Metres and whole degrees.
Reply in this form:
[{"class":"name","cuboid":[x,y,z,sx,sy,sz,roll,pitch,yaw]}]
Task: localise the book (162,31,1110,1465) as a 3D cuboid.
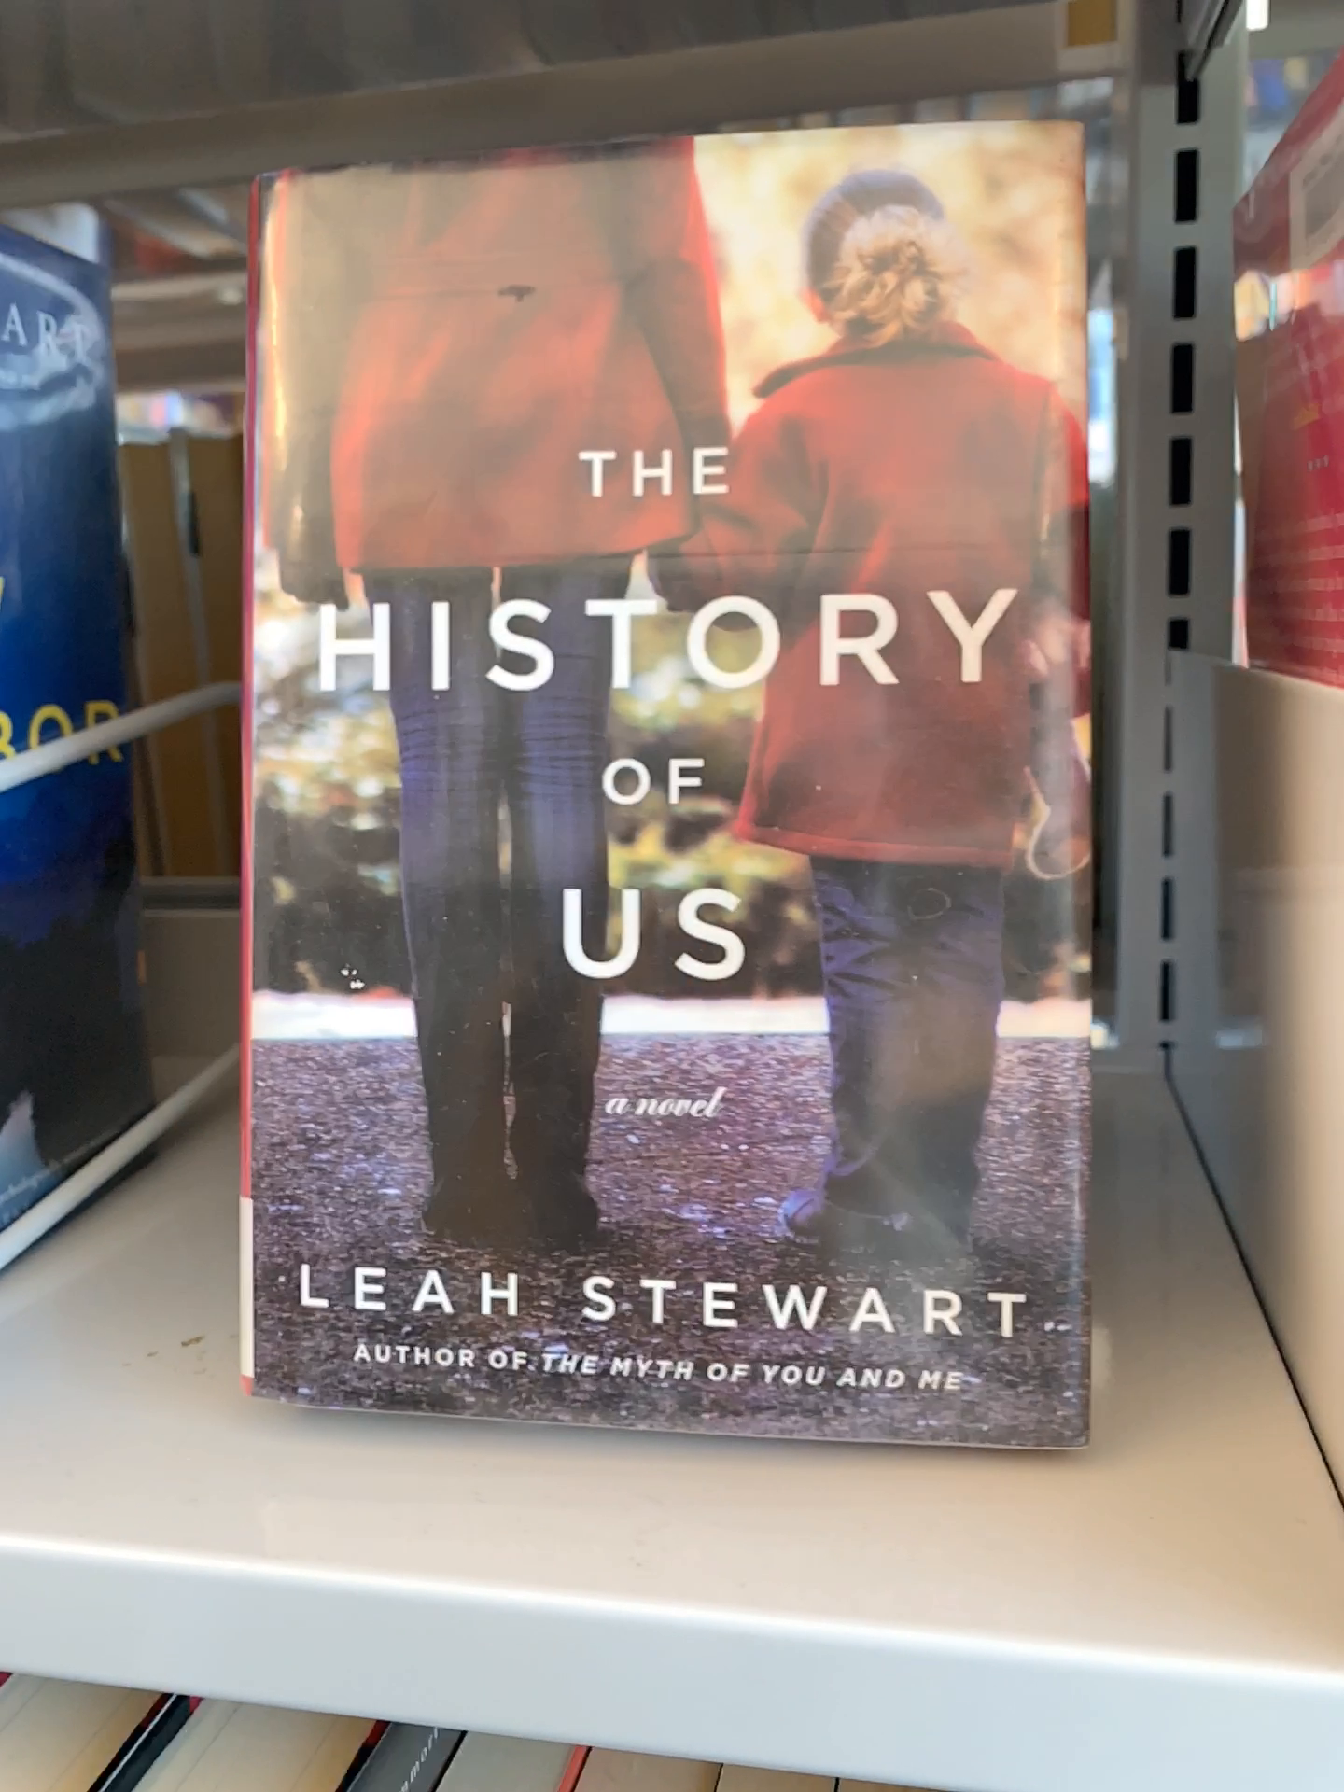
[{"class":"book","cuboid":[-0.007,-0.021,0.250,0.153,0.220,0.040,-1,1,11]}]
